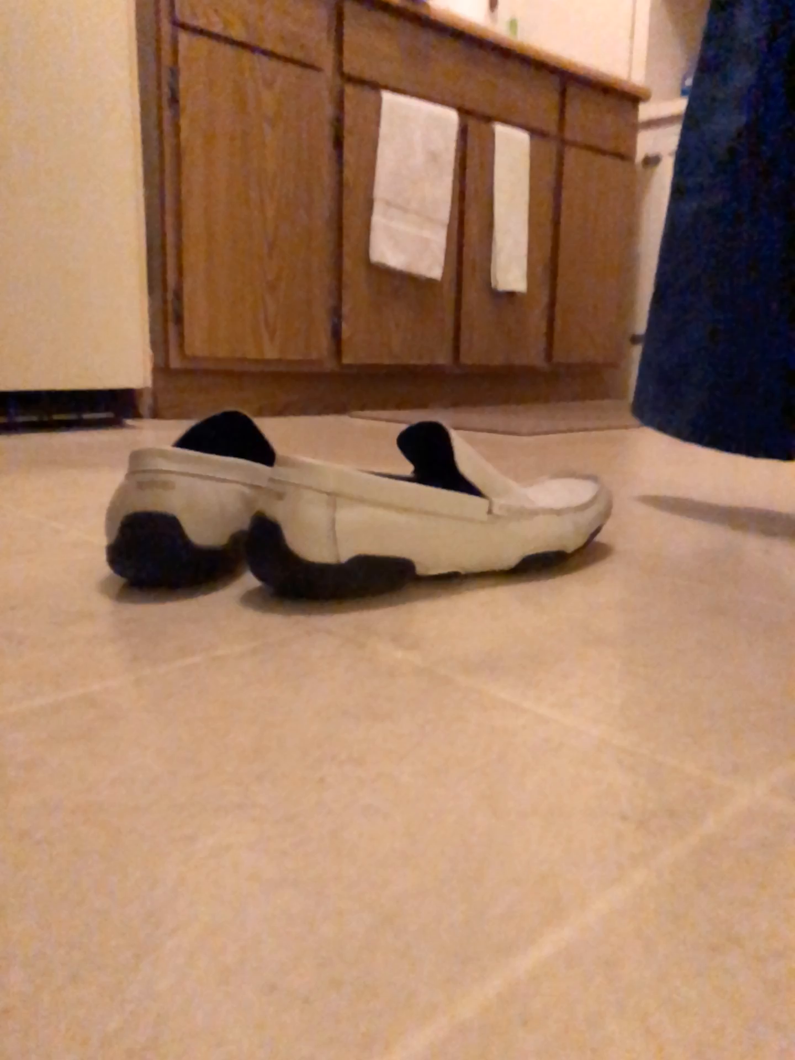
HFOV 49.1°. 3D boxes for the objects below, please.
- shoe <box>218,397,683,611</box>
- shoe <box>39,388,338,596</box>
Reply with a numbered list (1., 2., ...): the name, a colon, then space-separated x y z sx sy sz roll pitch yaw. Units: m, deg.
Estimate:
1. shoe: 0.043 -0.031 0.561 0.290 0.097 0.110 -7 14 -35
2. shoe: -0.121 -0.044 0.615 0.110 0.097 0.307 2 12 5
